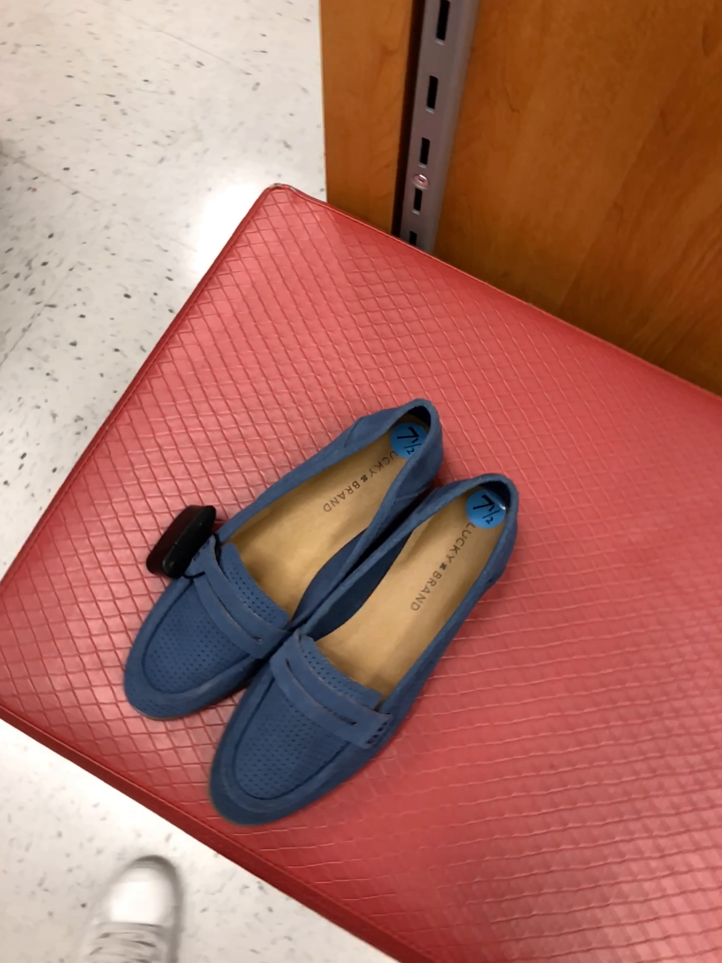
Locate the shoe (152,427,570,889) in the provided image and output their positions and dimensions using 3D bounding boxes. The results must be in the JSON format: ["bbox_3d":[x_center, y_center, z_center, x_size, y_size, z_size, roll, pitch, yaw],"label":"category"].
[{"bbox_3d":[0.005,0.097,0.476,0.085,0.069,0.258,39,76,10],"label":"shoe"}]

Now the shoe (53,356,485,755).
[{"bbox_3d":[-0.048,0.043,0.488,0.253,0.069,0.082,-41,78,-12],"label":"shoe"}]
